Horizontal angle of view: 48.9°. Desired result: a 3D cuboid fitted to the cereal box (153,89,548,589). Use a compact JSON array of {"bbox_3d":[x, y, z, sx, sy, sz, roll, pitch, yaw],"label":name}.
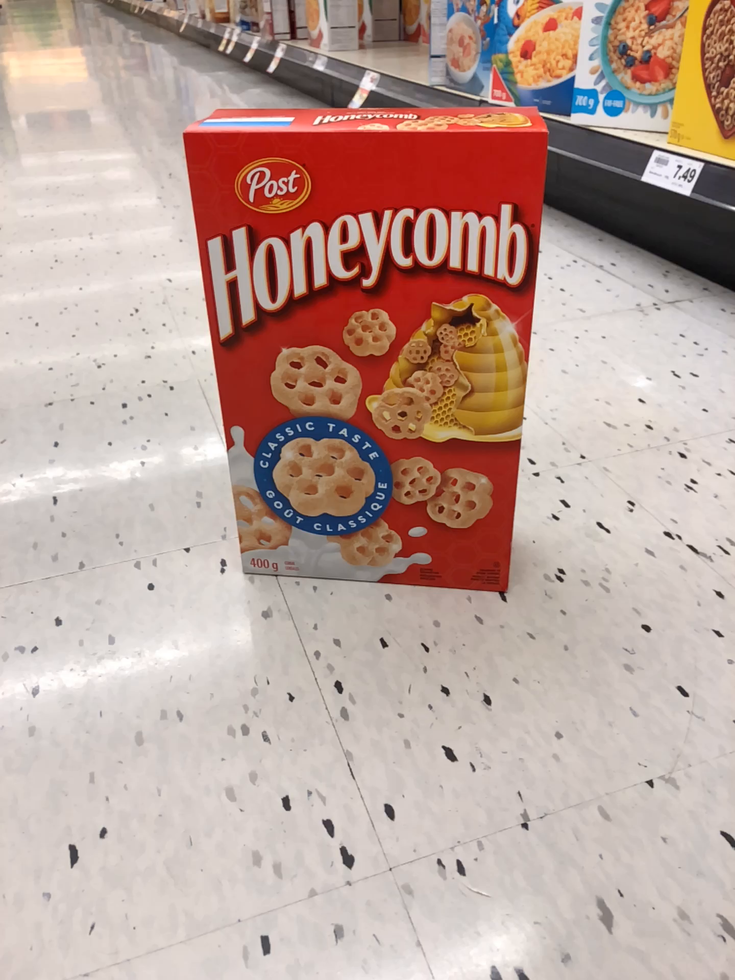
[{"bbox_3d":[-0.003,-0.086,0.517,0.200,0.298,0.081,4,33,8],"label":"cereal box"}]
